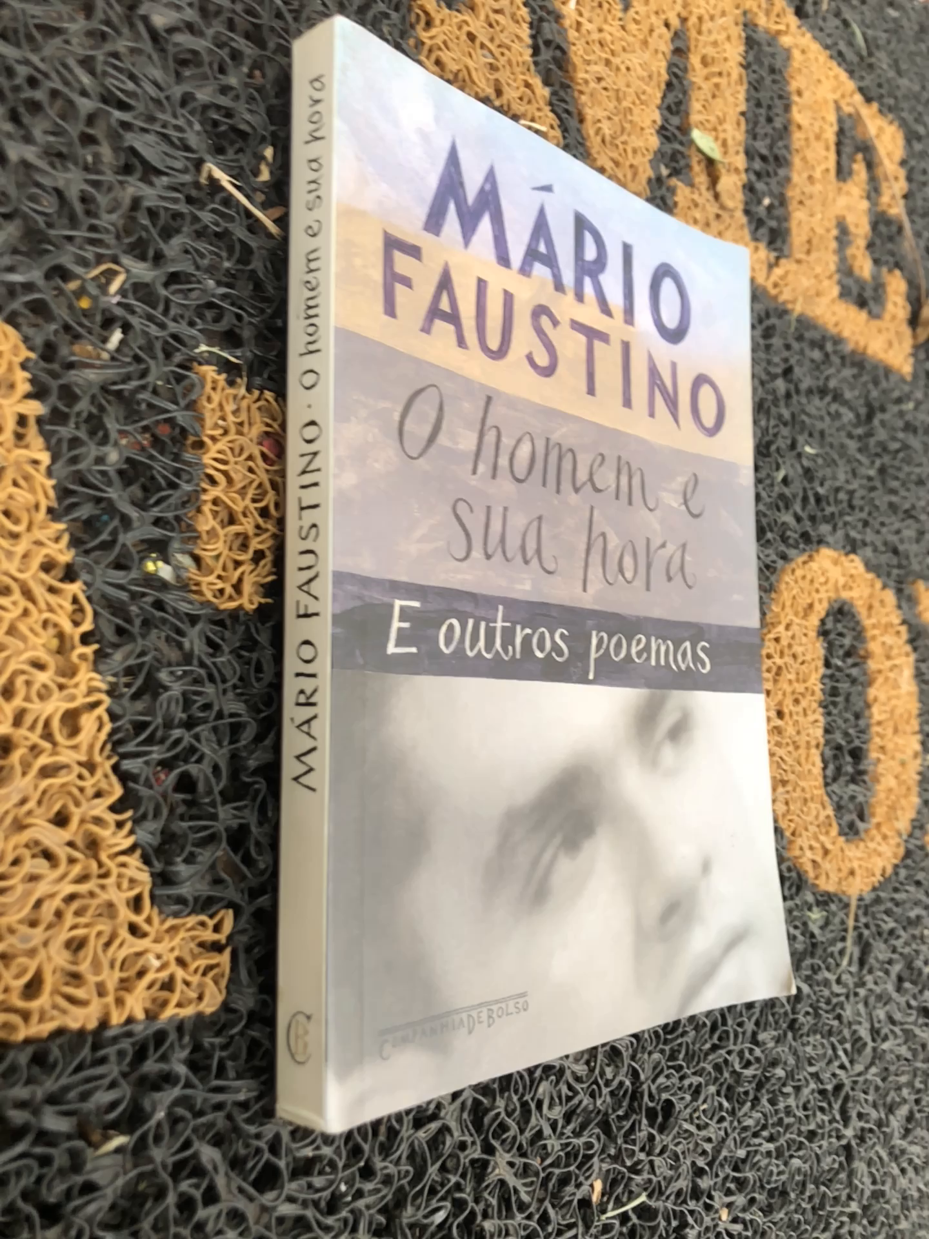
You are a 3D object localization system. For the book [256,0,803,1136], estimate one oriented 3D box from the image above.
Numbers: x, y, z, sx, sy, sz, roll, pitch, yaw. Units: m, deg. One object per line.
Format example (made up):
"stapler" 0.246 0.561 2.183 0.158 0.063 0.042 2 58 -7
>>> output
"book" 0.021 -0.012 0.198 0.125 0.020 0.174 7 81 -44
